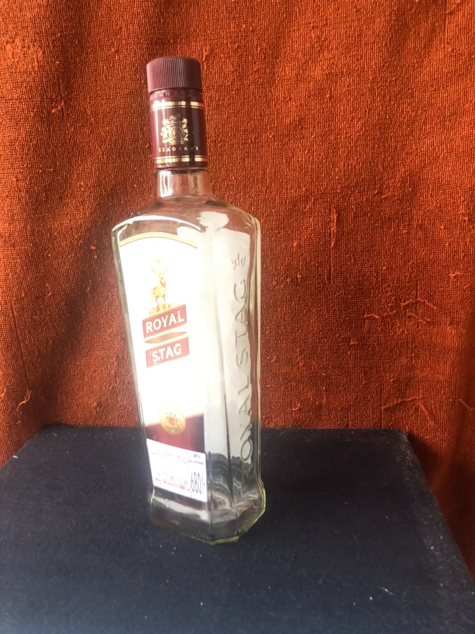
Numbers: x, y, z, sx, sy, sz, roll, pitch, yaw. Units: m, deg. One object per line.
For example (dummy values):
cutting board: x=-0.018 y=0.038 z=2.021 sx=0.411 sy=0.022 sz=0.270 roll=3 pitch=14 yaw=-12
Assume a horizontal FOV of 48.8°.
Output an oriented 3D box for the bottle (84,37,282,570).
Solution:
bottle: x=-0.026 y=-0.001 z=0.323 sx=0.090 sy=0.289 sz=0.060 roll=6 pitch=16 yaw=28
